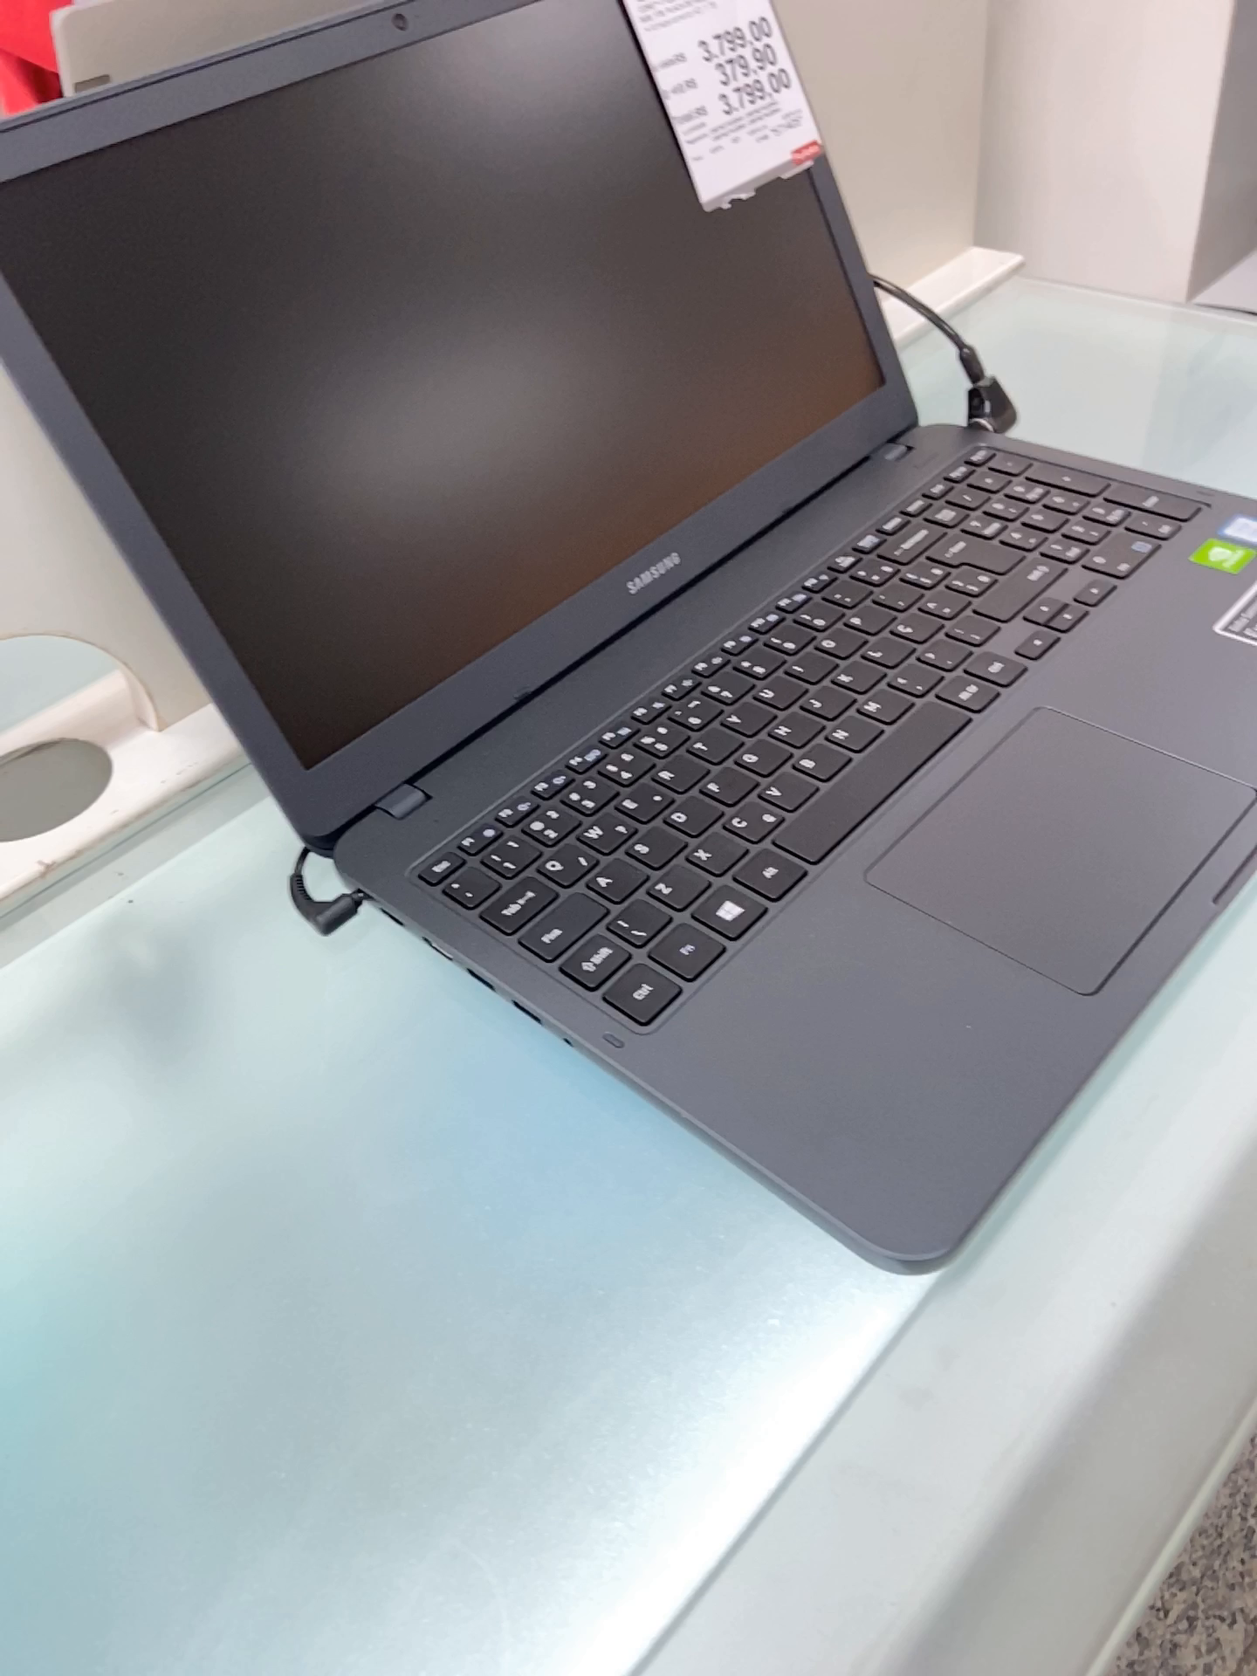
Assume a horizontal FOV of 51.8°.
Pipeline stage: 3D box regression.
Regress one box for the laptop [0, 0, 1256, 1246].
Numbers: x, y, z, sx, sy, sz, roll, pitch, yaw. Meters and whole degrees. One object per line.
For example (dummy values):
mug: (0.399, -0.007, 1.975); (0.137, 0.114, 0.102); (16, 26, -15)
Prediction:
laptop: (0.060, -0.146, 0.423); (0.342, 0.208, 0.364); (29, 54, 34)
